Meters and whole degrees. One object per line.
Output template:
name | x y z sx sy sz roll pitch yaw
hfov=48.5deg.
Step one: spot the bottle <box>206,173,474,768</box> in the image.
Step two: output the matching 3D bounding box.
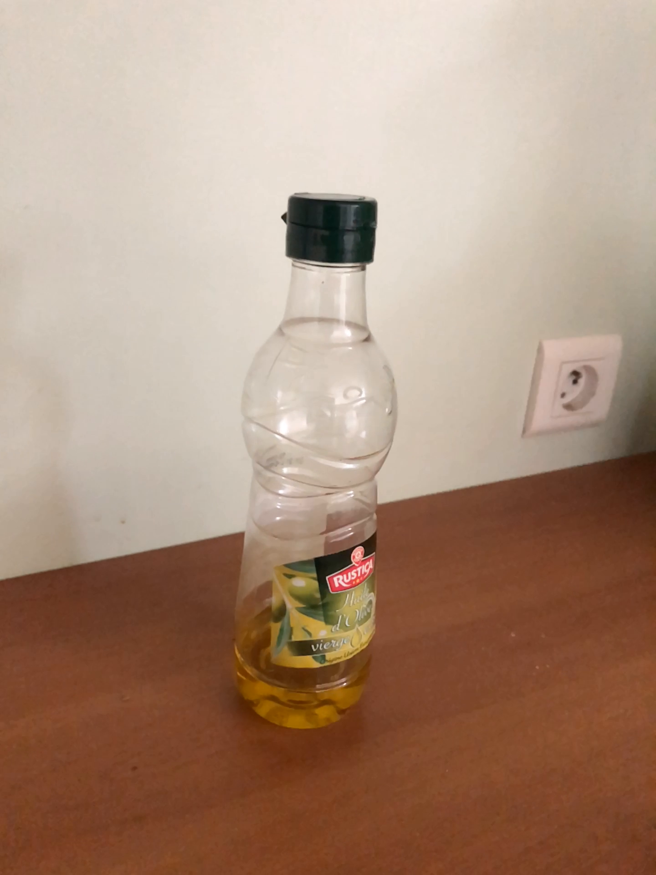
bottle | -0.003 0.015 0.317 0.070 0.239 0.070 4 23 -2
